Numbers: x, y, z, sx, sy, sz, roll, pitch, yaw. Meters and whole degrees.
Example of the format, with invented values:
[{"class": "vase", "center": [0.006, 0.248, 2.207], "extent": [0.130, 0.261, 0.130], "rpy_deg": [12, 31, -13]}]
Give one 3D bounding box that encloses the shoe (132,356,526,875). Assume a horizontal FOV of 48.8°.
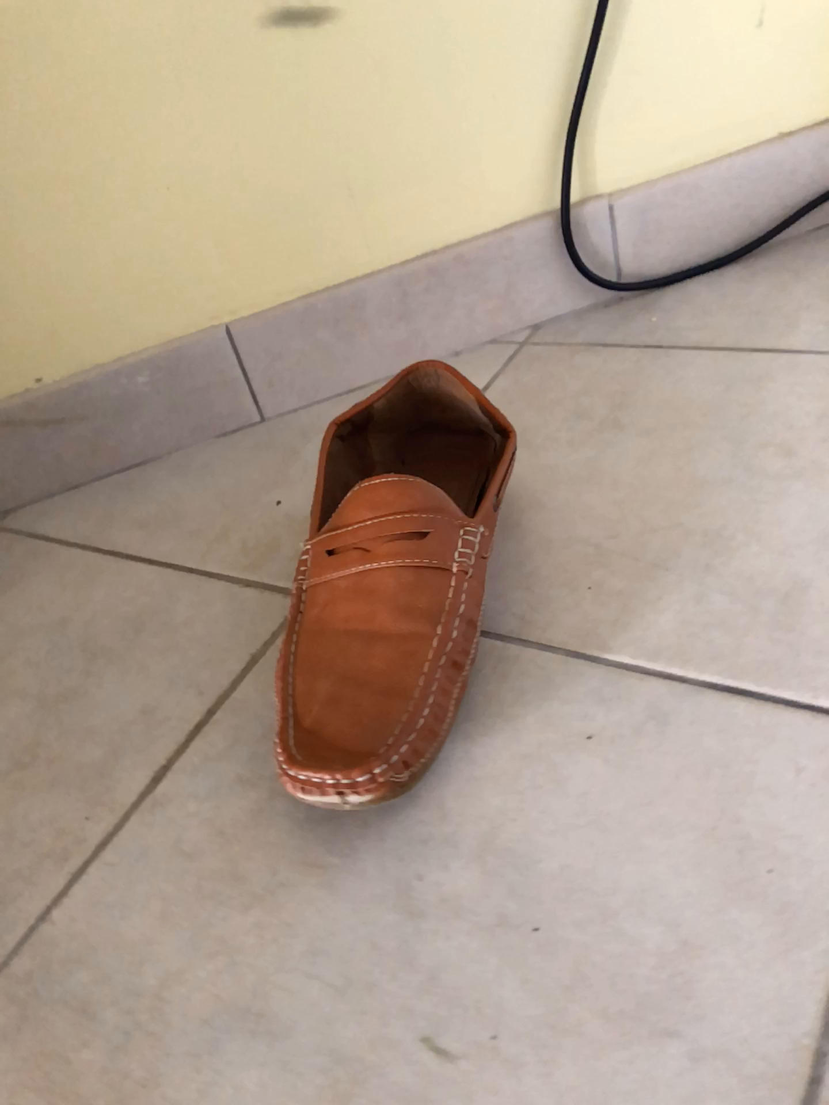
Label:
[{"class": "shoe", "center": [-0.018, 0.011, 0.450], "extent": [0.130, 0.070, 0.282], "rpy_deg": [-6, 39, 13]}]
